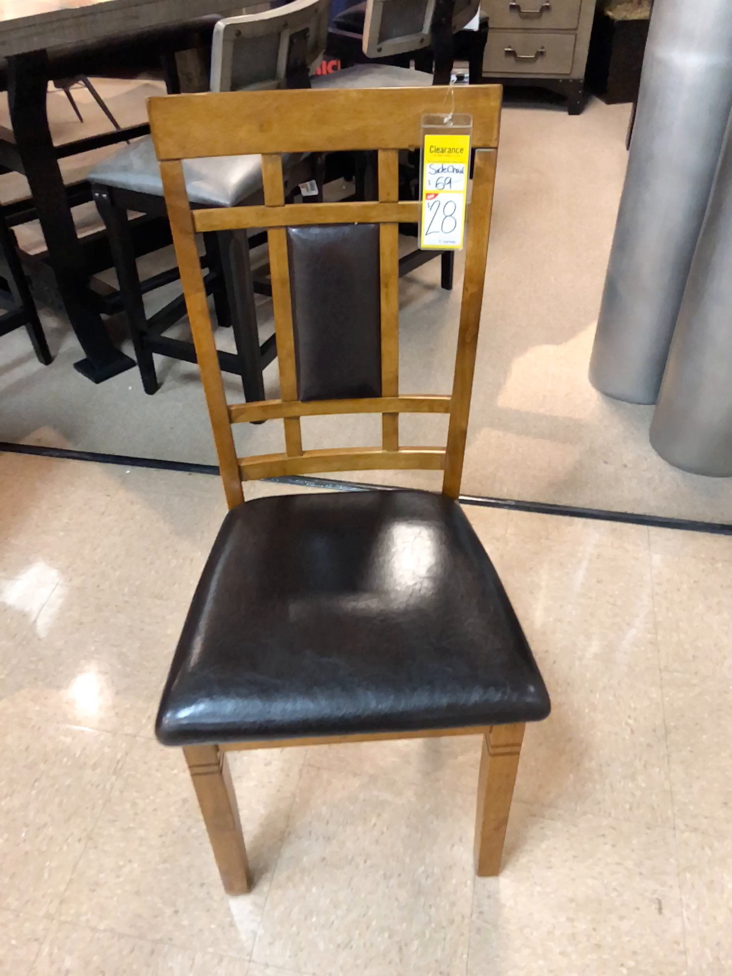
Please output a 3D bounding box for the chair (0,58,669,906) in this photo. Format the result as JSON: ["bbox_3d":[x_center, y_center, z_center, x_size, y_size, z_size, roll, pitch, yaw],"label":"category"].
[{"bbox_3d":[-0.032,0.062,1.040,0.450,0.994,0.503,-3,42,-2],"label":"chair"}]
